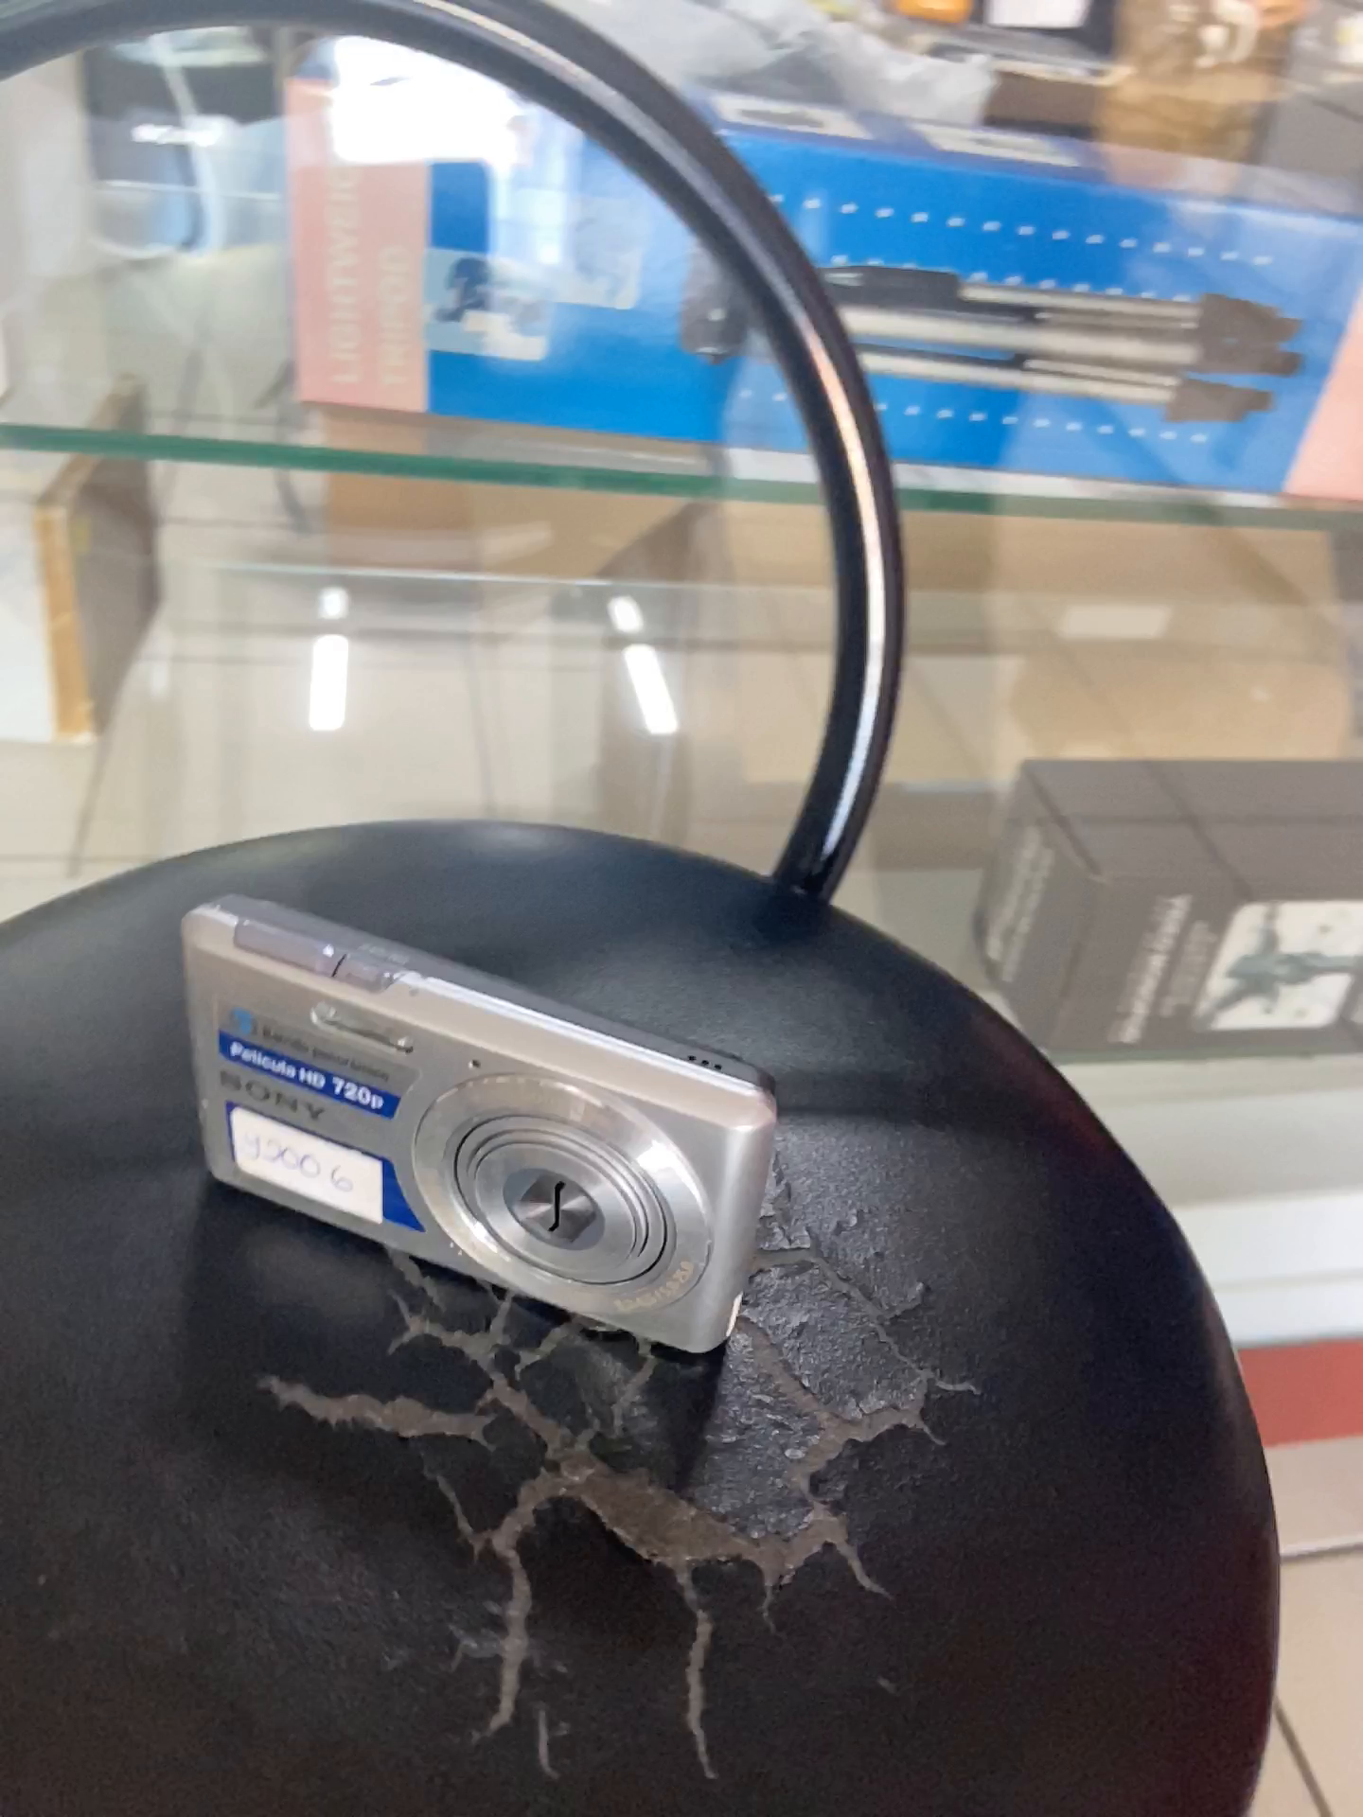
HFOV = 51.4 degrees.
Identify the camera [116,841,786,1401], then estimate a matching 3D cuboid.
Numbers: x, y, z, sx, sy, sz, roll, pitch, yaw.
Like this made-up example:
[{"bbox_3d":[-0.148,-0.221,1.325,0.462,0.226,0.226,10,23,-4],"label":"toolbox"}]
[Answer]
[{"bbox_3d":[-0.039,0.035,0.238,0.100,0.060,0.030,17,37,11],"label":"camera"}]
